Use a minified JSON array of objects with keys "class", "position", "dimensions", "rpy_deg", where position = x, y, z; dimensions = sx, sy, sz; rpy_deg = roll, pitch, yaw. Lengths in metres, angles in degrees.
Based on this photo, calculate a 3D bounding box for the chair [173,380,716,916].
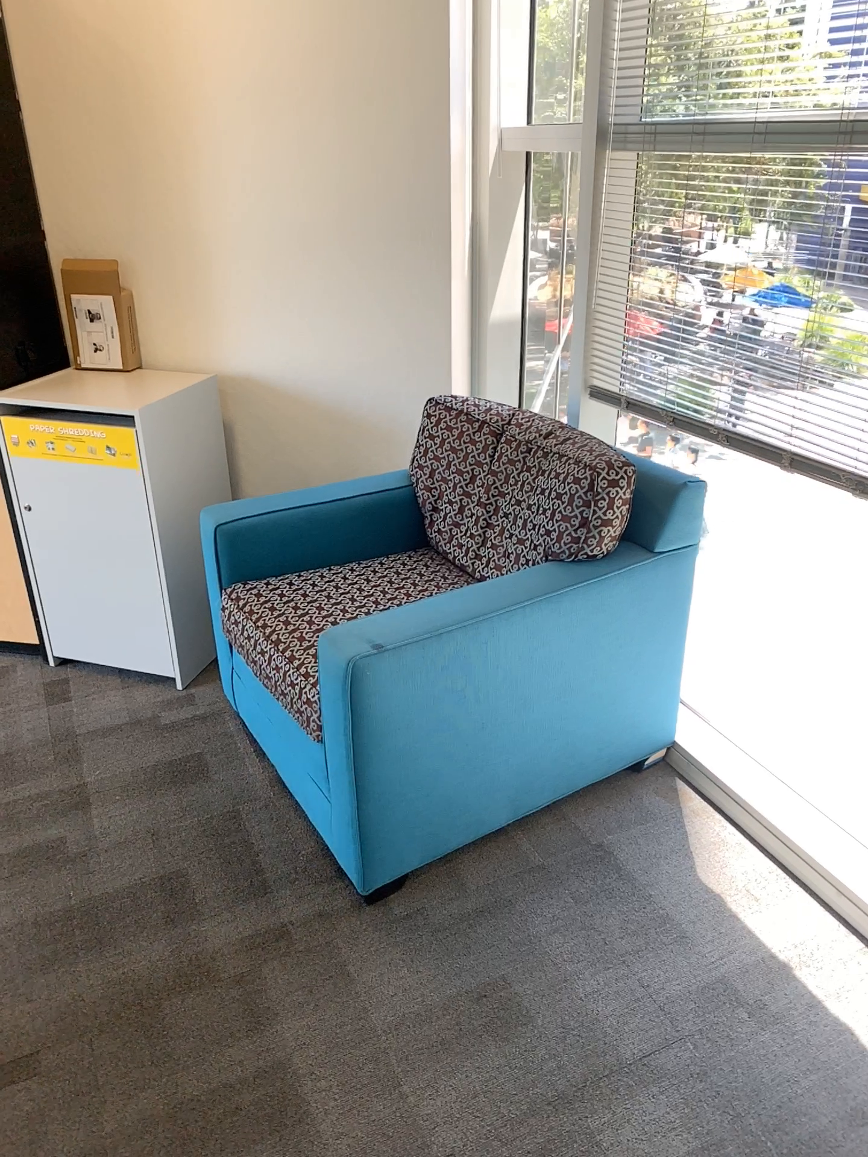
[{"class":"chair","position":[-0.016,0.055,2.232],"dimensions":[0.910,0.805,0.935],"rpy_deg":[-15,29,-27]}]
